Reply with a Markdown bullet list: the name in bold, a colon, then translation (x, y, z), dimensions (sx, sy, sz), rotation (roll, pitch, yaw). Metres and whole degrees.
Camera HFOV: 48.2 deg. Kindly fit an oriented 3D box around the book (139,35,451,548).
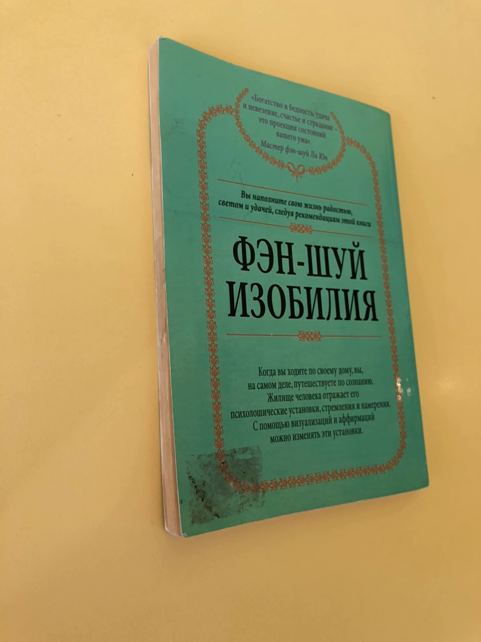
- **book**: translation (0.024, -0.013, 0.209), dimensions (0.118, 0.020, 0.166), rotation (2, 78, -32)
